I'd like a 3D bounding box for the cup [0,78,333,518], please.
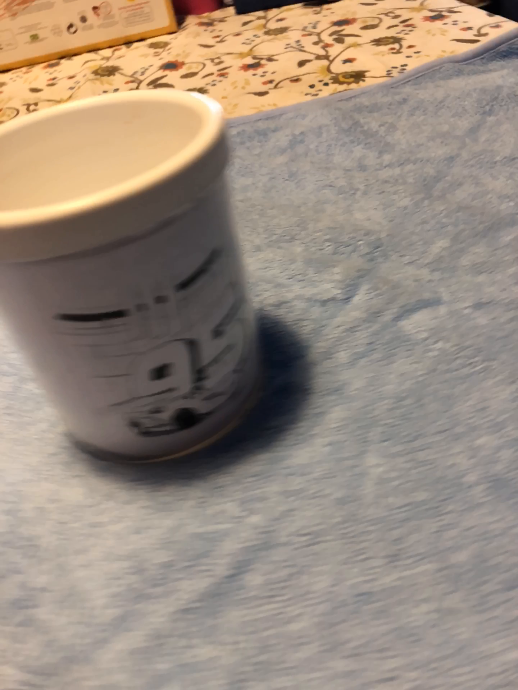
[{"bbox_3d":[-0.052,-0.026,0.208,0.120,0.099,0.090,19,50,31],"label":"cup"}]
